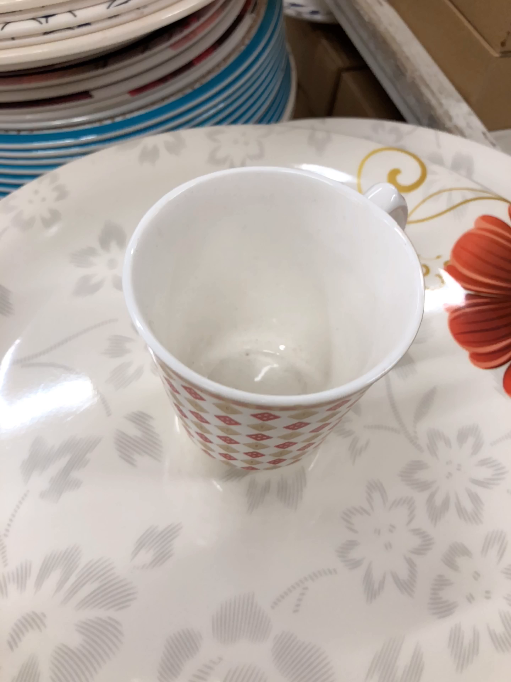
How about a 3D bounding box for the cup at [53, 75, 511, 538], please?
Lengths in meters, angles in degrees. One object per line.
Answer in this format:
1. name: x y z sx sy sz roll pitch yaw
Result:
1. cup: 0.015 -0.013 0.194 0.120 0.080 0.080 -32 67 -22
